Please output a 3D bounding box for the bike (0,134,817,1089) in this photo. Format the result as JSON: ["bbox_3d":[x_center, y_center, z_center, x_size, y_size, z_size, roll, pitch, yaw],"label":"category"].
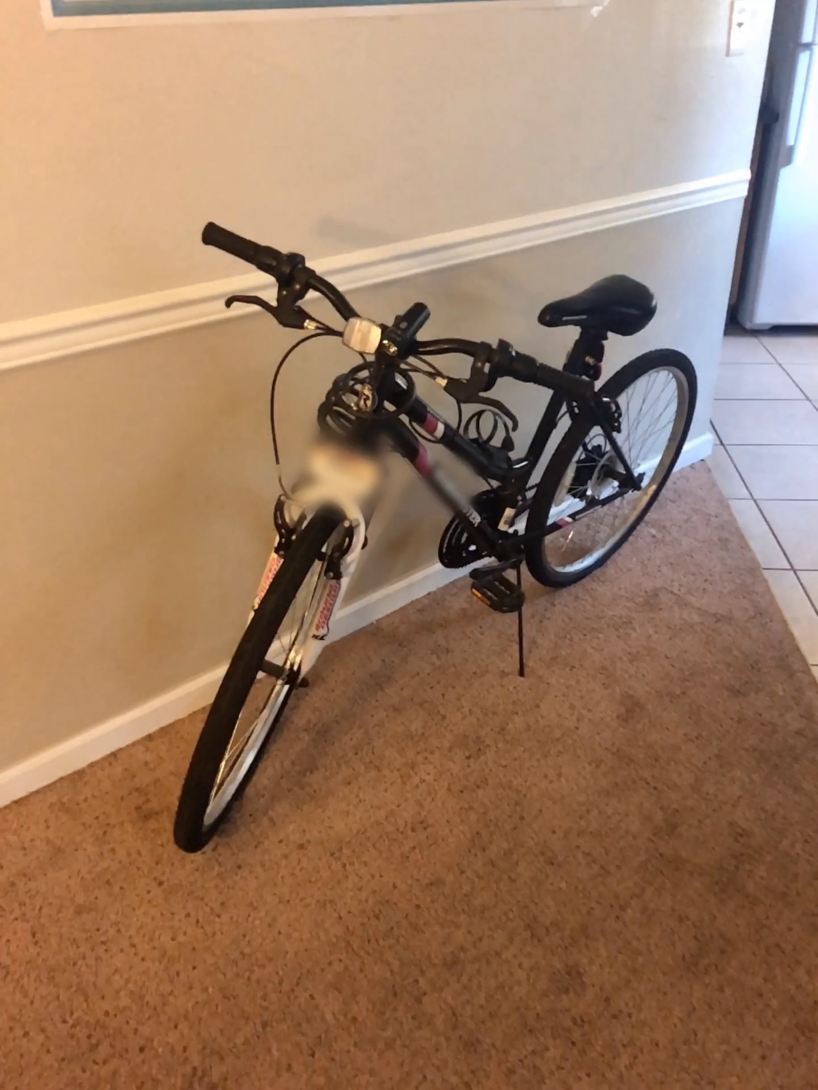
[{"bbox_3d":[0.264,-0.109,1.954,0.679,1.177,1.872,23,39,35],"label":"bike"}]
